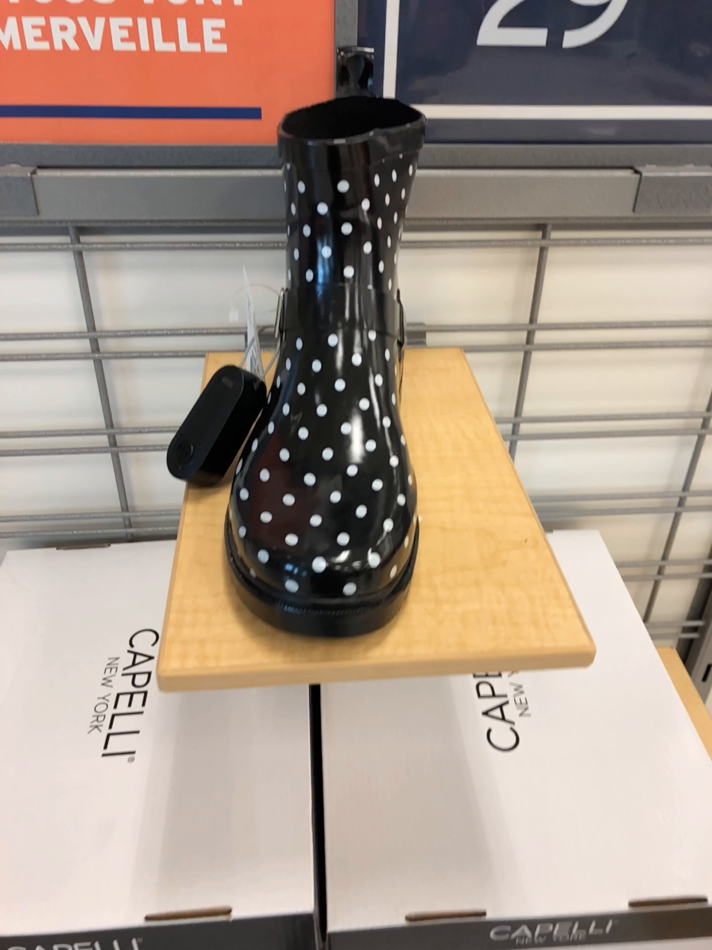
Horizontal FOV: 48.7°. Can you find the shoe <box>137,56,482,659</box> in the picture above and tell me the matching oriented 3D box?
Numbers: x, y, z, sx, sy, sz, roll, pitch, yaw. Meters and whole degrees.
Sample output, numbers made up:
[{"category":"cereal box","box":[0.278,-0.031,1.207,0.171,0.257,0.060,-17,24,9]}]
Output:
[{"category":"shoe","box":[-0.015,-0.077,0.378,0.095,0.188,0.262,0,35,-1]}]
